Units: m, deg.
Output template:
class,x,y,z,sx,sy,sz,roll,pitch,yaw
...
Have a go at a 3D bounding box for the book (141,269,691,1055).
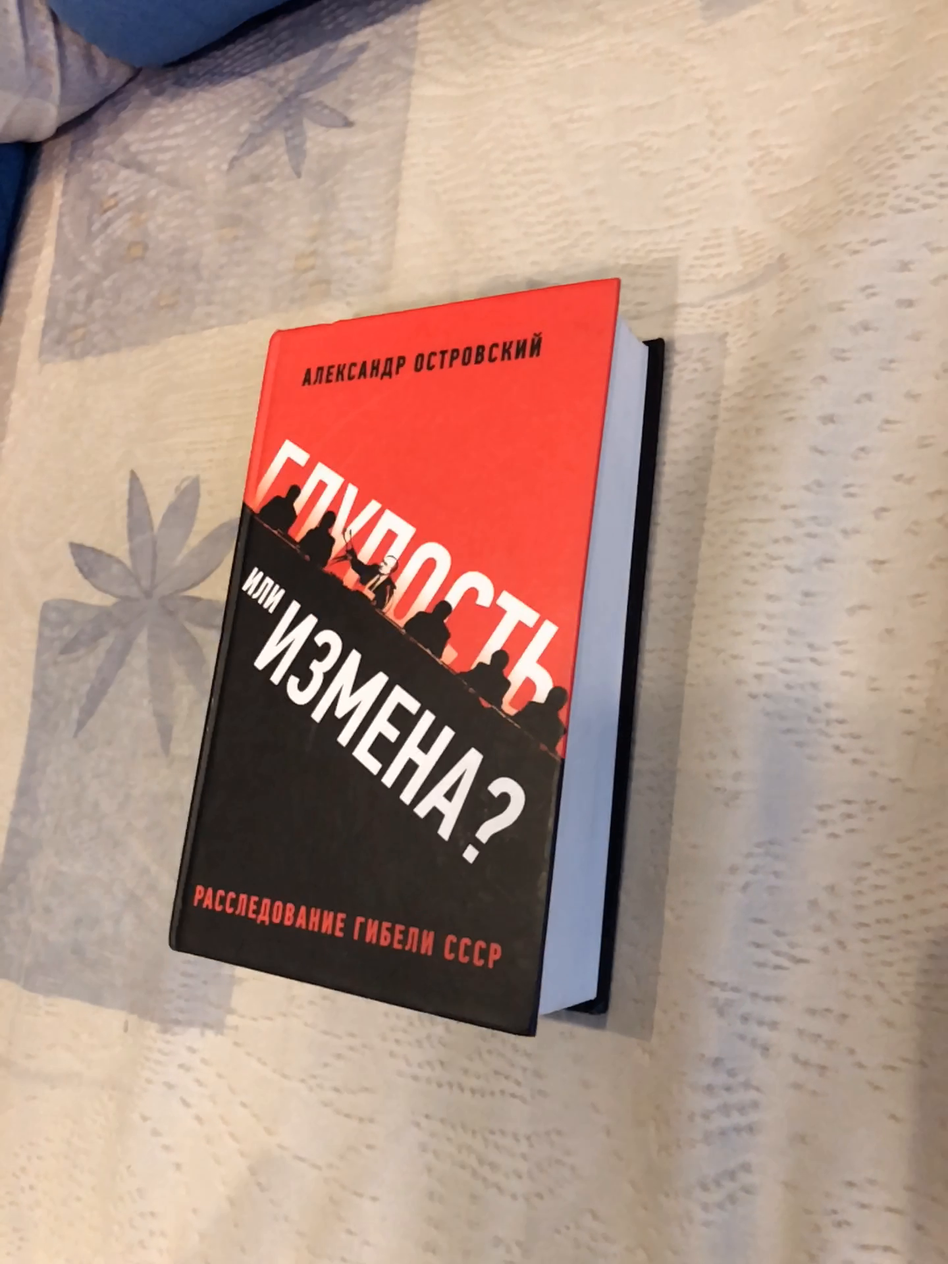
class,x,y,z,sx,sy,sz,roll,pitch,yaw
book,-0.016,0.005,0.315,0.135,0.050,0.200,1,77,30
